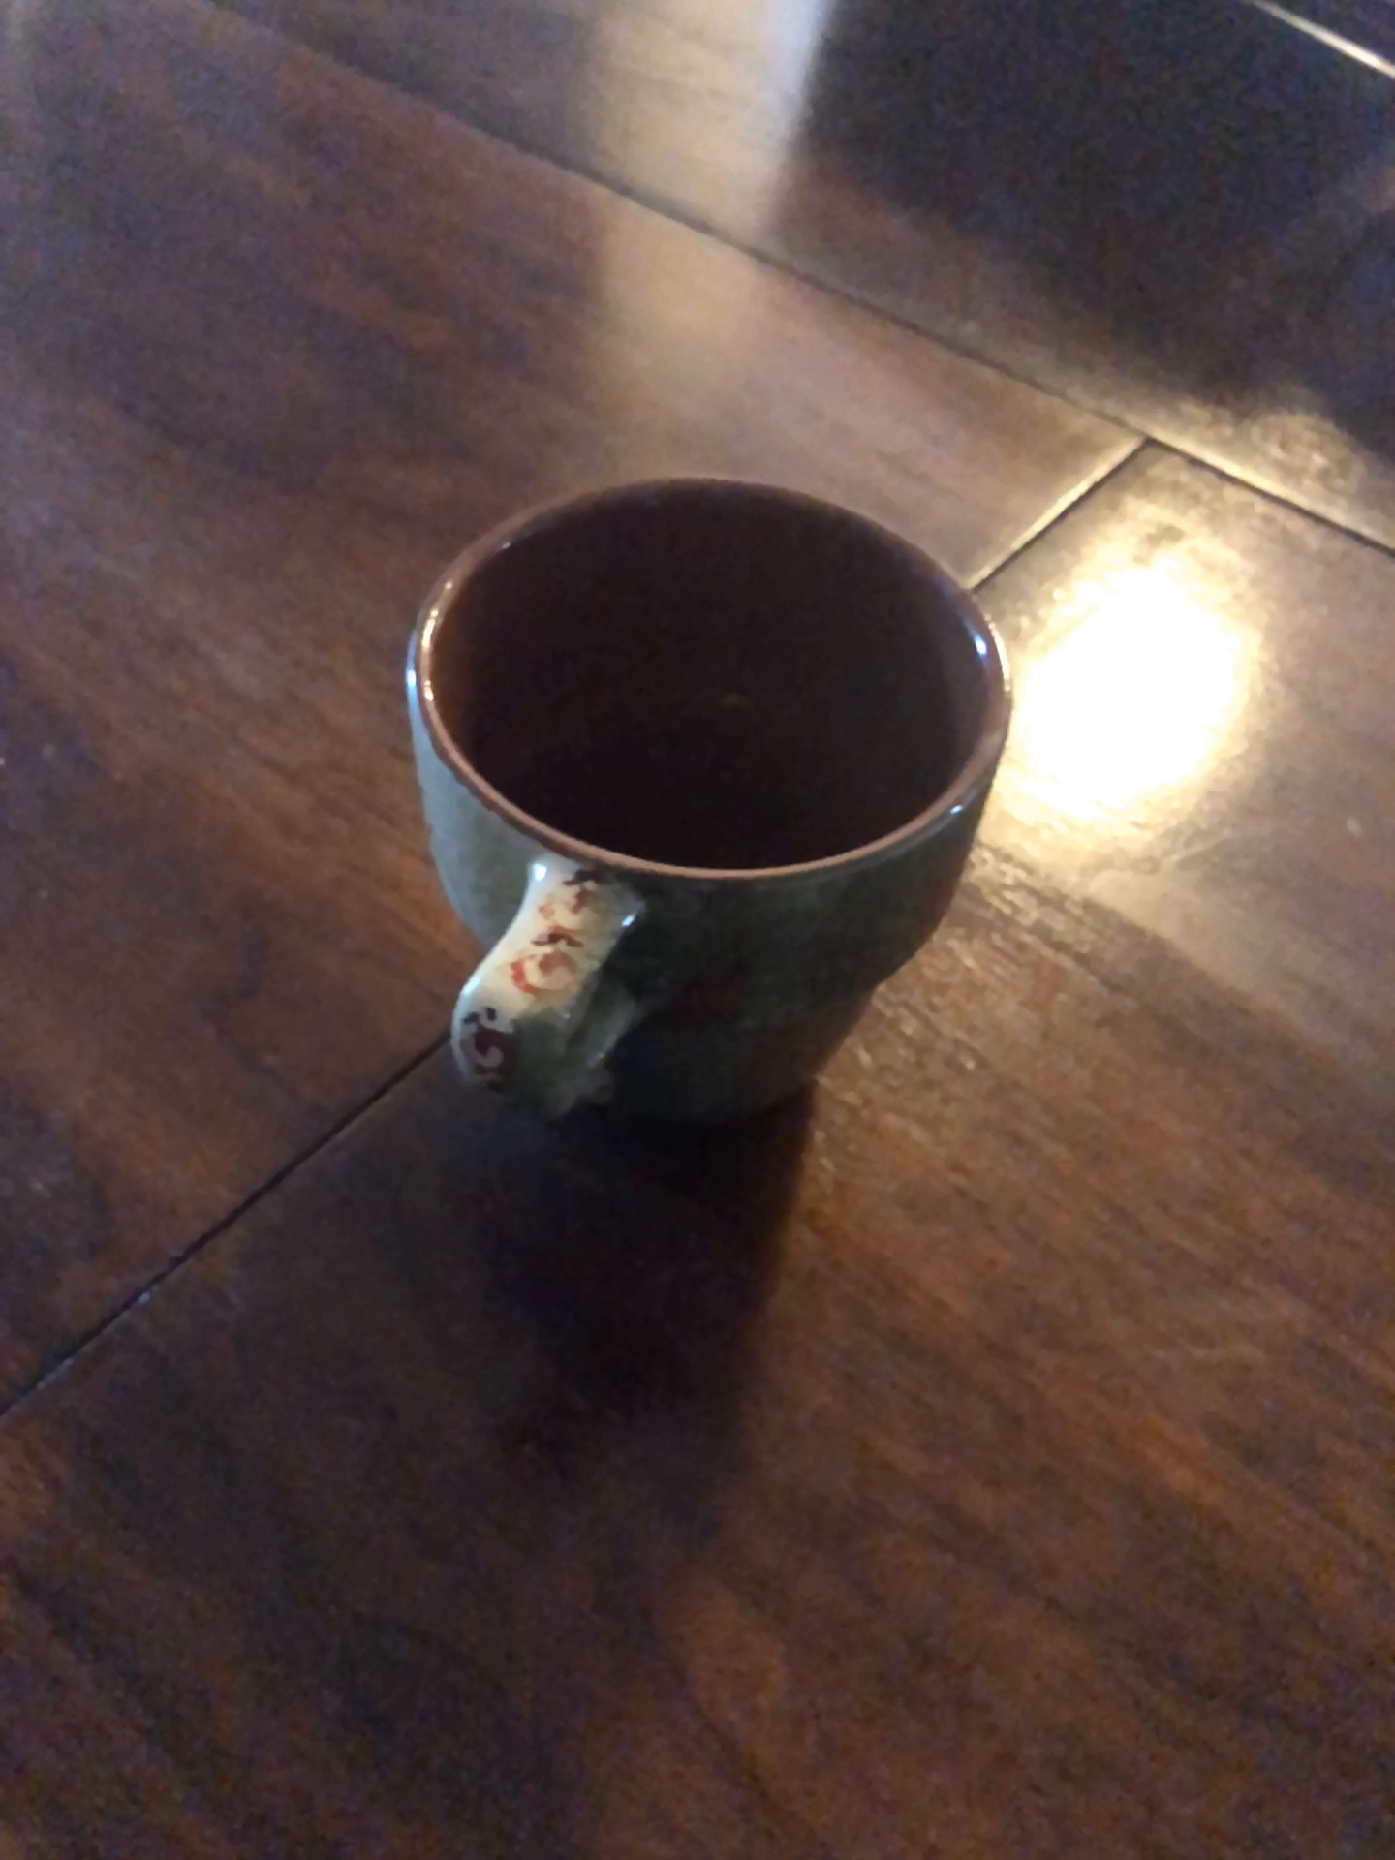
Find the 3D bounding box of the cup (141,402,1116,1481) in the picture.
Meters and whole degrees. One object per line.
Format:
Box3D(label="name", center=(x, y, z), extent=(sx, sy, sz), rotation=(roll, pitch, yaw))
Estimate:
Box3D(label="cup", center=(-0.006, -0.001, 0.283), extent=(0.100, 0.110, 0.130), rotation=(24, 53, 14))
